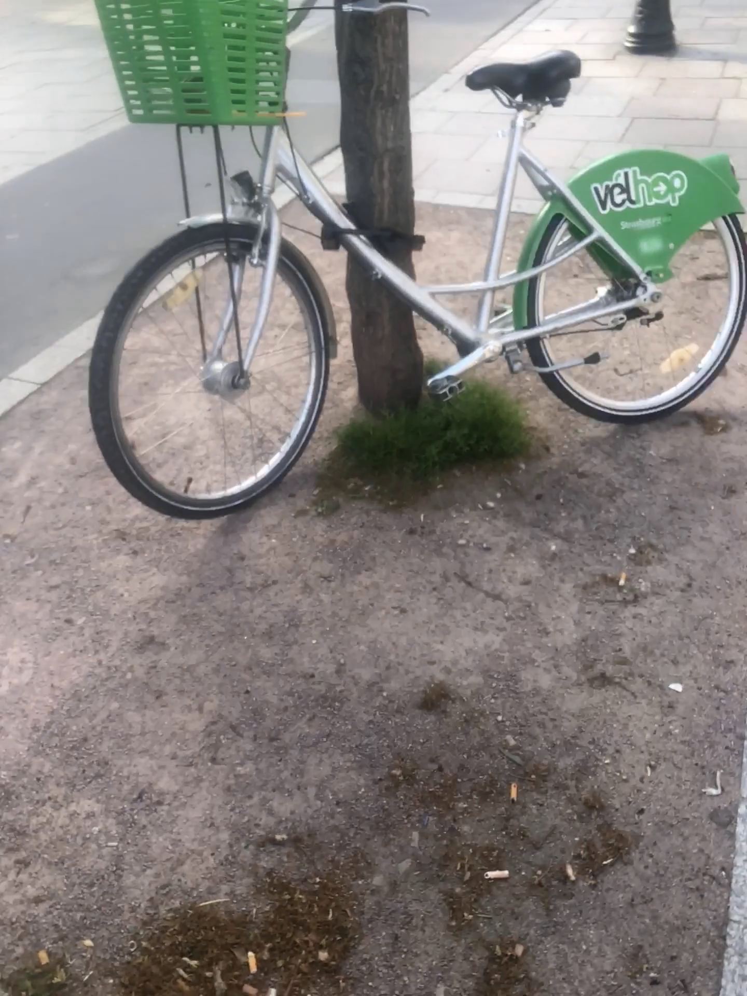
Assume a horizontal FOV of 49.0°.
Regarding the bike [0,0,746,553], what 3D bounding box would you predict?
[{"bbox_3d":[0.148,-0.660,1.908,1.723,1.114,0.312,-20,40,-21],"label":"bike"}]
